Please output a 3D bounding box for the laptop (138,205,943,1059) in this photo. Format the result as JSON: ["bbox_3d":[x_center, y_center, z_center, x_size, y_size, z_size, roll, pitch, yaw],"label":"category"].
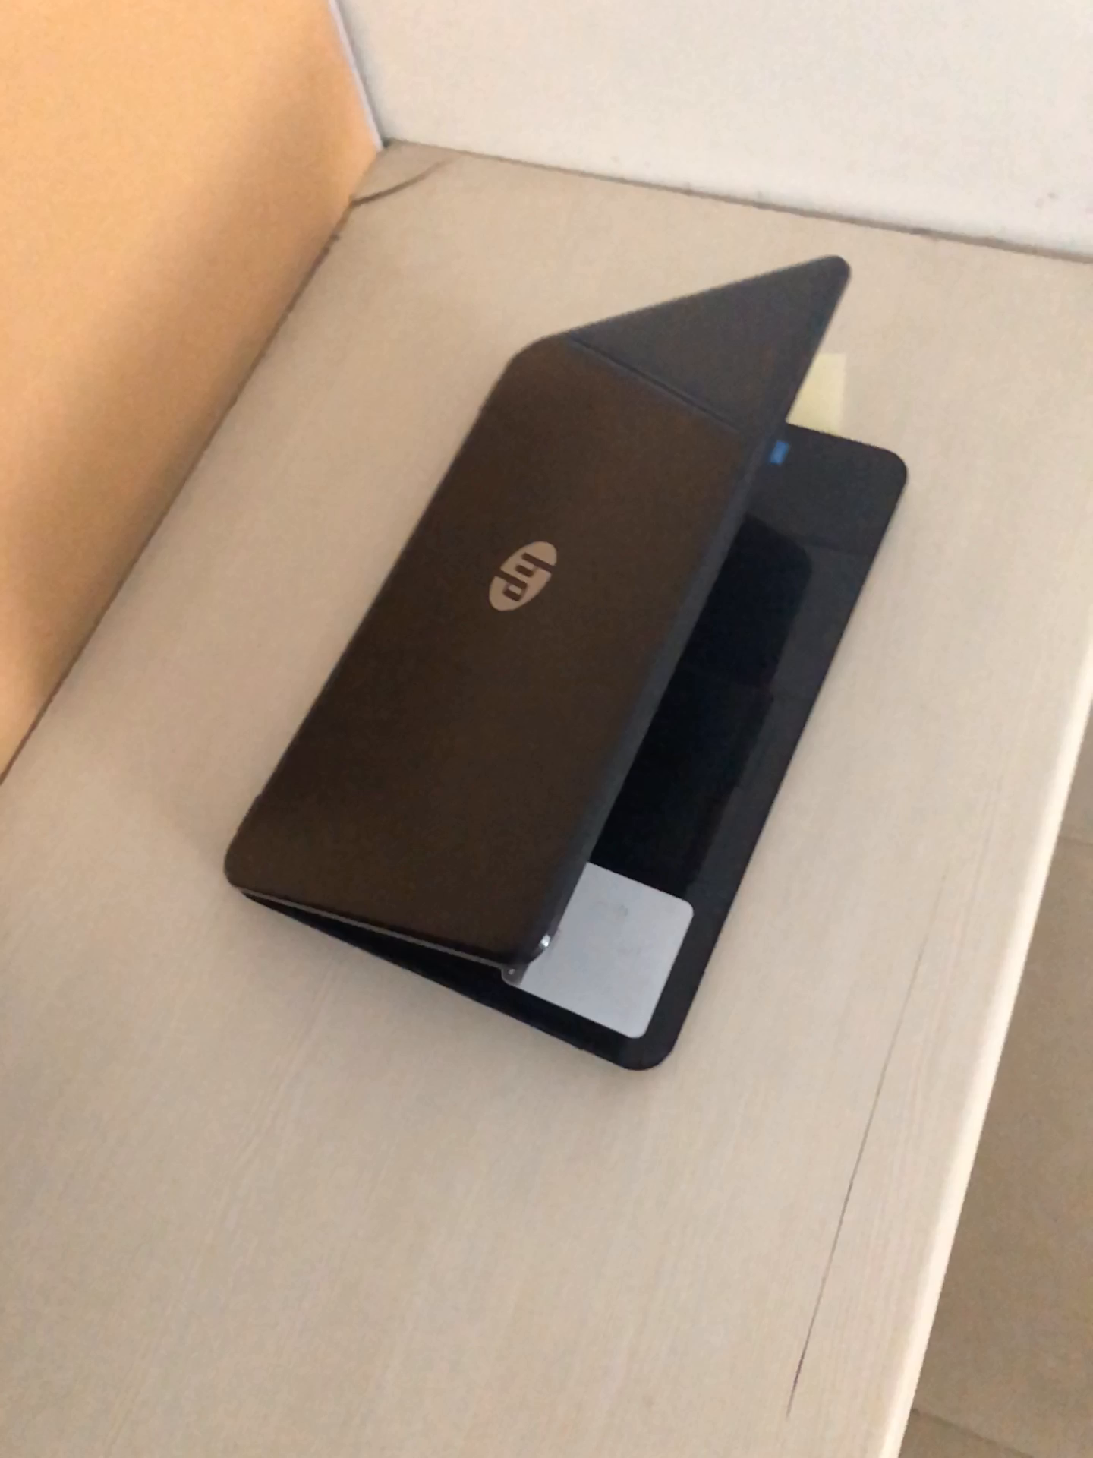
[{"bbox_3d":[0.014,-0.059,0.593,0.223,0.131,0.353,21,70,18],"label":"laptop"}]
